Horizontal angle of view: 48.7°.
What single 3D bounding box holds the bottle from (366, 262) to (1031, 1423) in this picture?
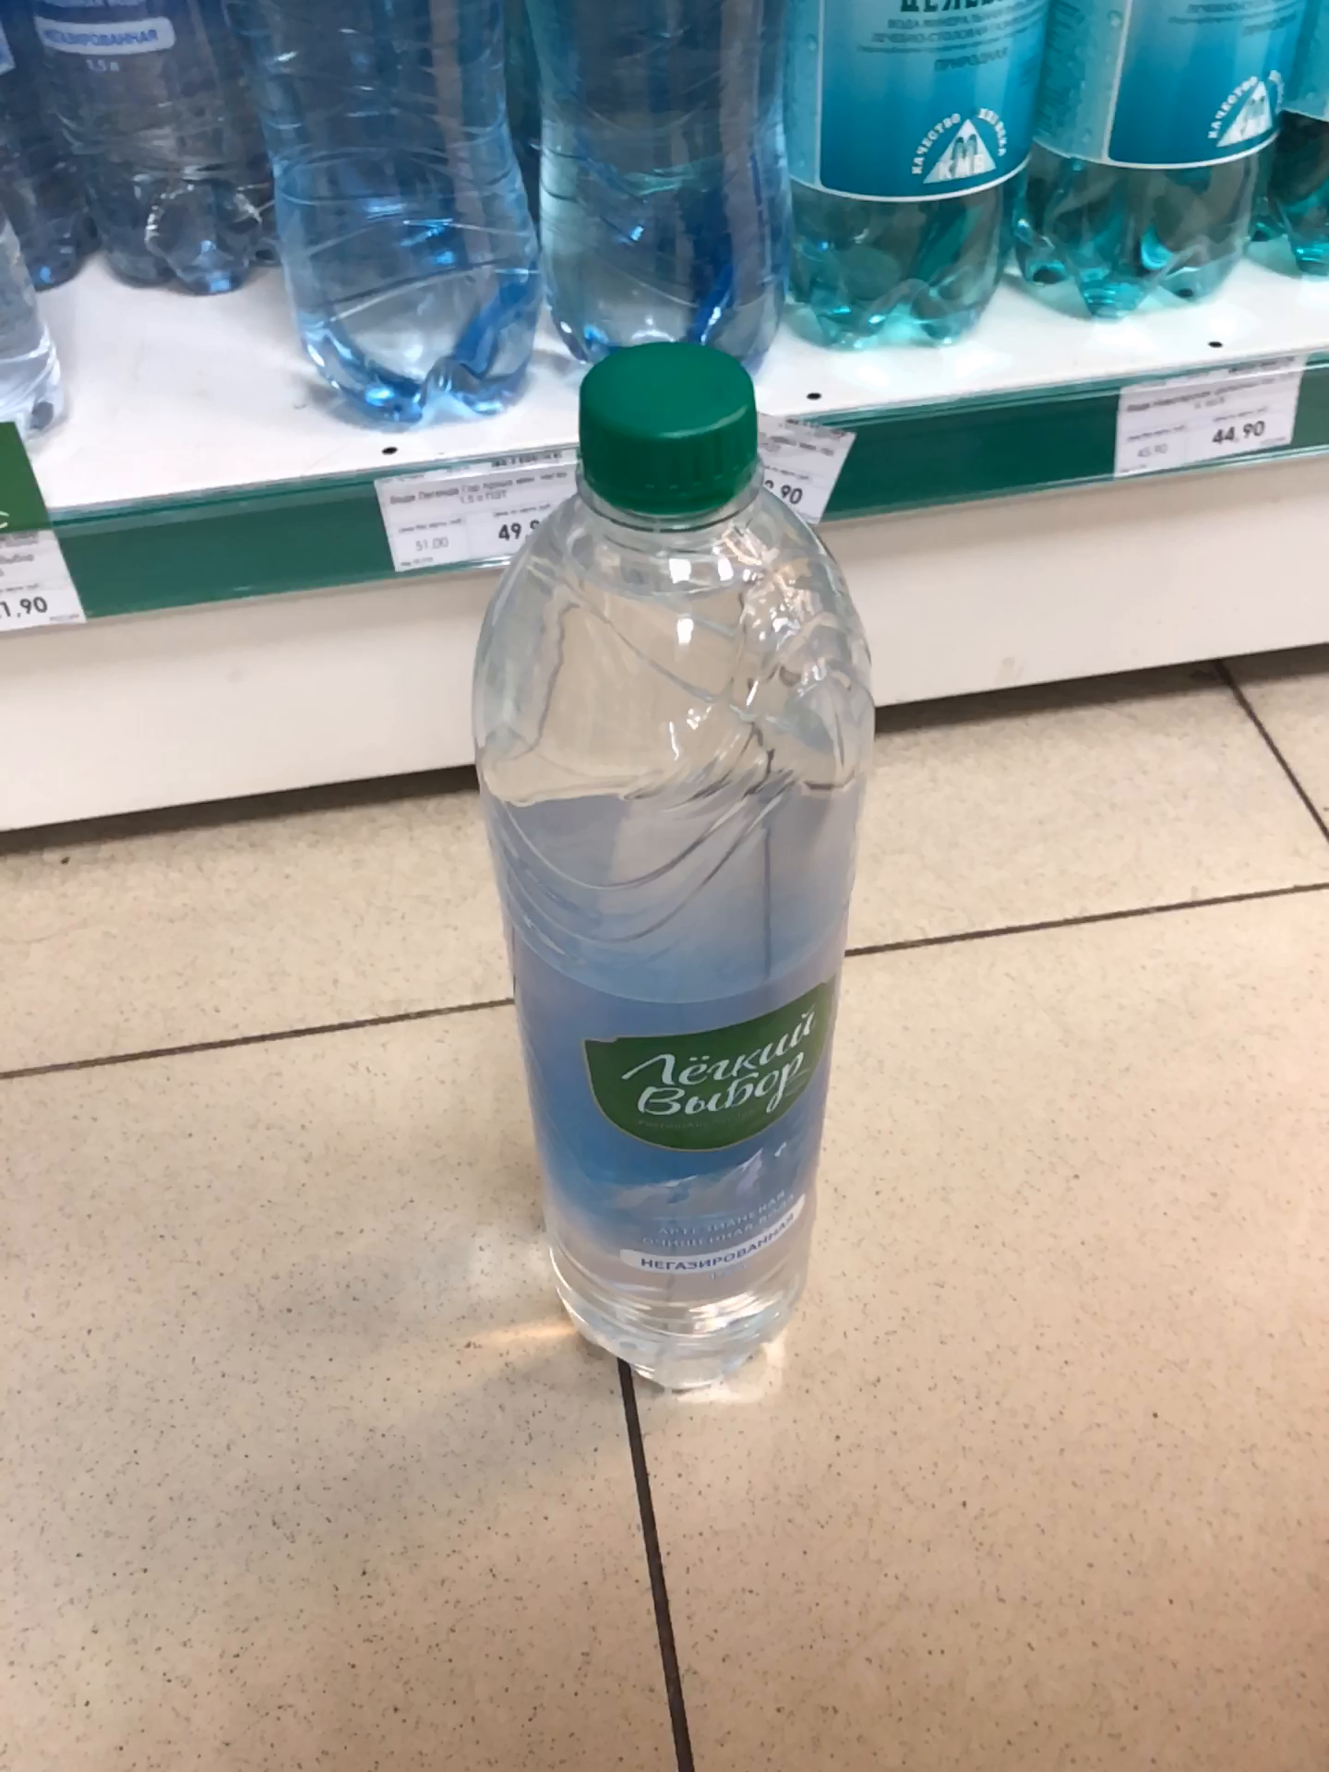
[{"bbox_3d":[0.005,0.020,0.360,0.089,0.299,0.086,-1,49,1],"label":"bottle"}]
